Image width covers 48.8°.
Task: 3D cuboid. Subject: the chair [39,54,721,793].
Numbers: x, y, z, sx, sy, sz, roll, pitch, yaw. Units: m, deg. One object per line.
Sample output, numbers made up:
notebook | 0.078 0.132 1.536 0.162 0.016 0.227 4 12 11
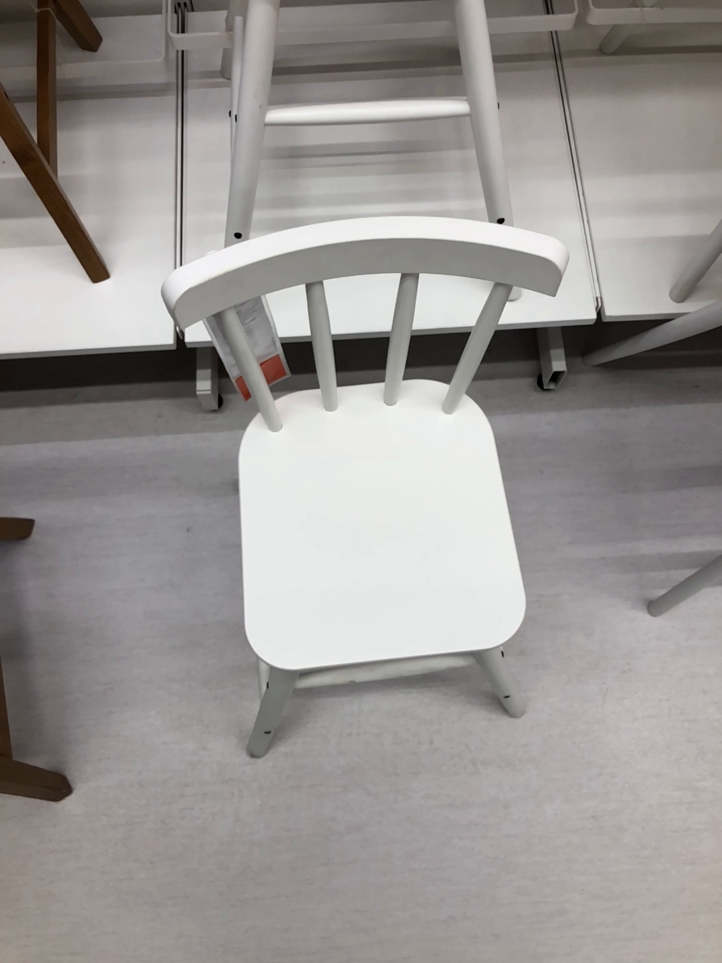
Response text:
chair | 0.013 0.042 0.936 0.470 0.798 0.501 -7 72 -2
